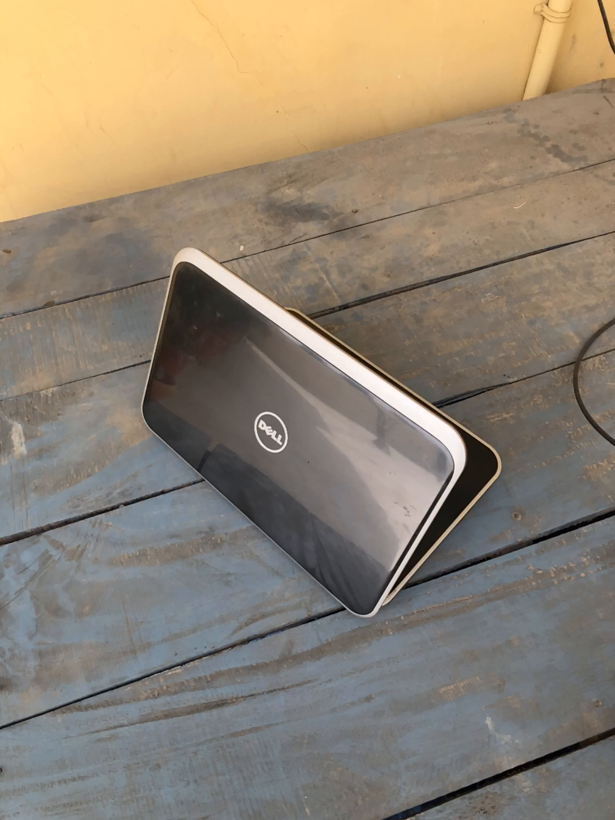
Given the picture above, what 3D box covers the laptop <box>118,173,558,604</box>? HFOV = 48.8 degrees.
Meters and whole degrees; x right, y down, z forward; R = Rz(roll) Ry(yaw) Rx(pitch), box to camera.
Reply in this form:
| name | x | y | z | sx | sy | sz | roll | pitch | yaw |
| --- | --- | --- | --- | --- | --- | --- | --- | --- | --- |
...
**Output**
| name | x | y | z | sx | sy | sz | roll | pitch | yaw |
| --- | --- | --- | --- | --- | --- | --- | --- | --- | --- |
| laptop | 0.020 | -0.029 | 0.705 | 0.348 | 0.206 | 0.216 | 38 | 67 | 24 |
